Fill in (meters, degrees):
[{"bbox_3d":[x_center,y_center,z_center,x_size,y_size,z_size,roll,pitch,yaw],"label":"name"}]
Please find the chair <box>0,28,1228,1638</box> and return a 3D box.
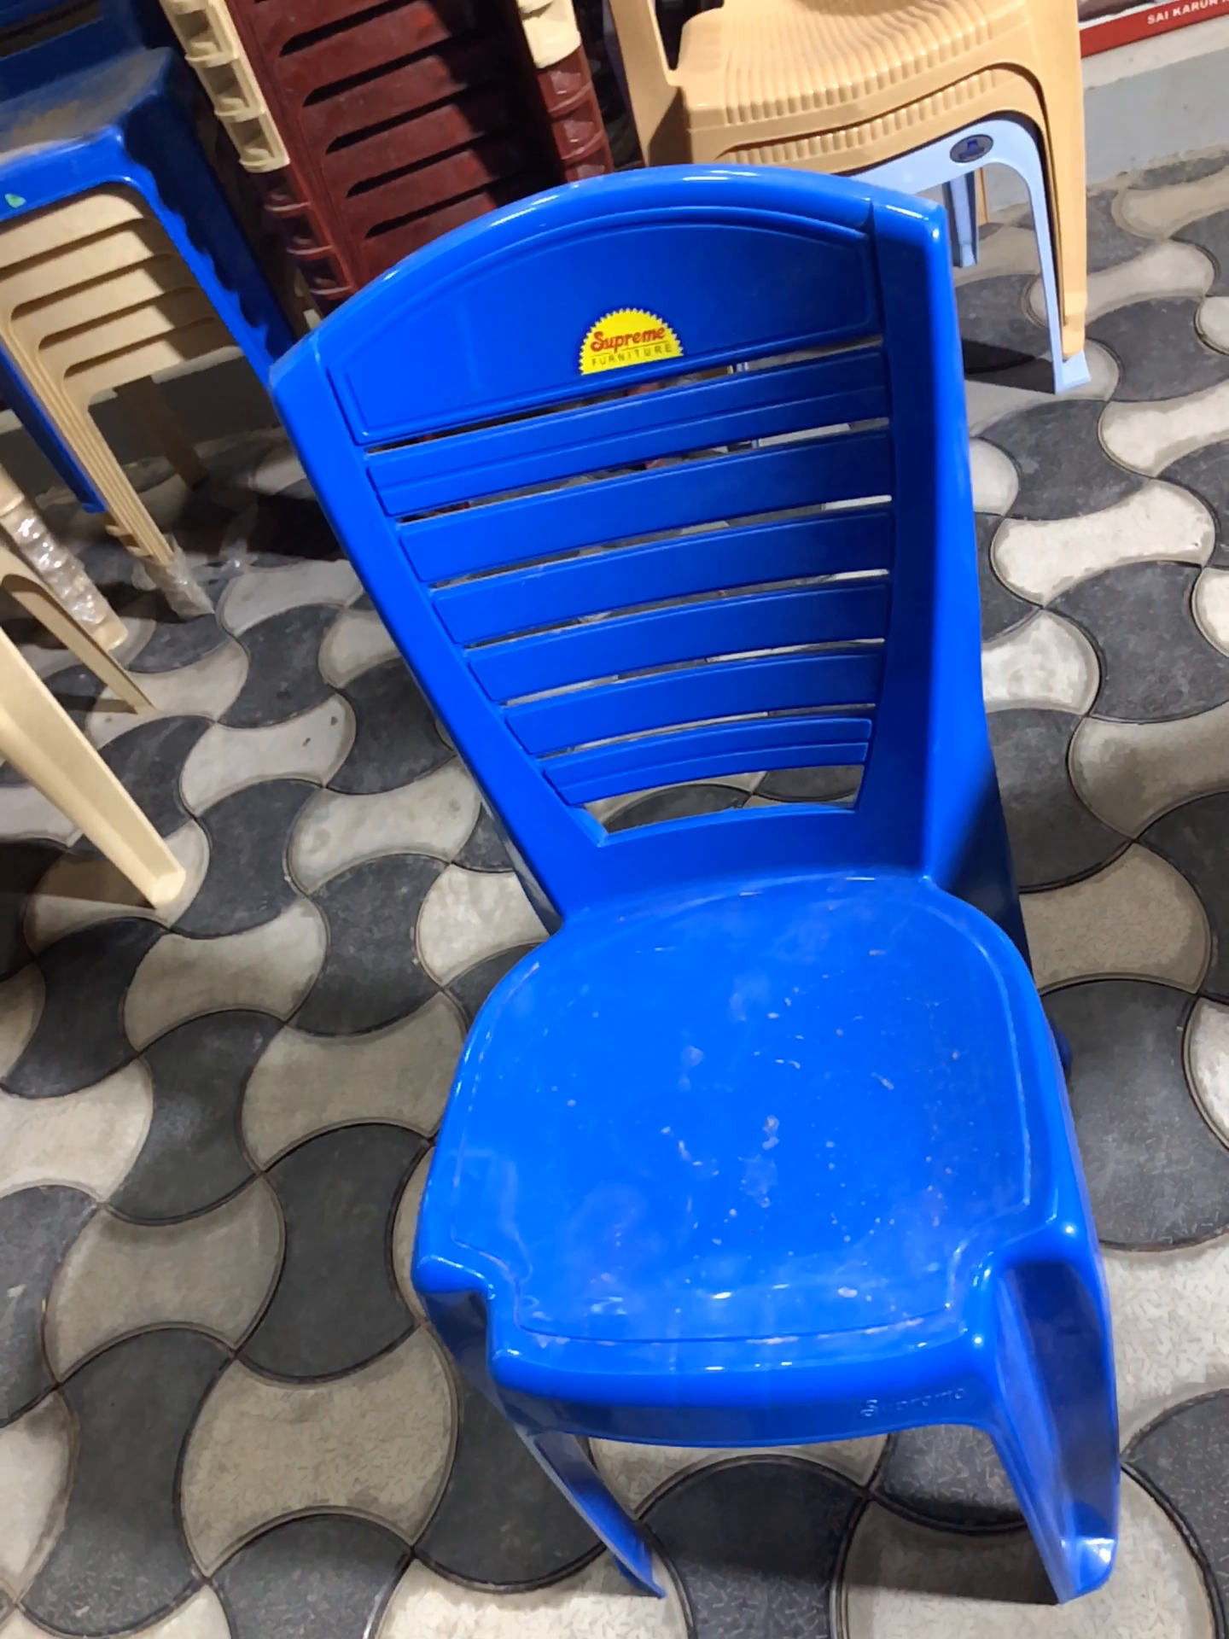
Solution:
[{"bbox_3d":[0.029,0.100,0.750,0.470,0.726,0.513,-7,45,16],"label":"chair"}]
